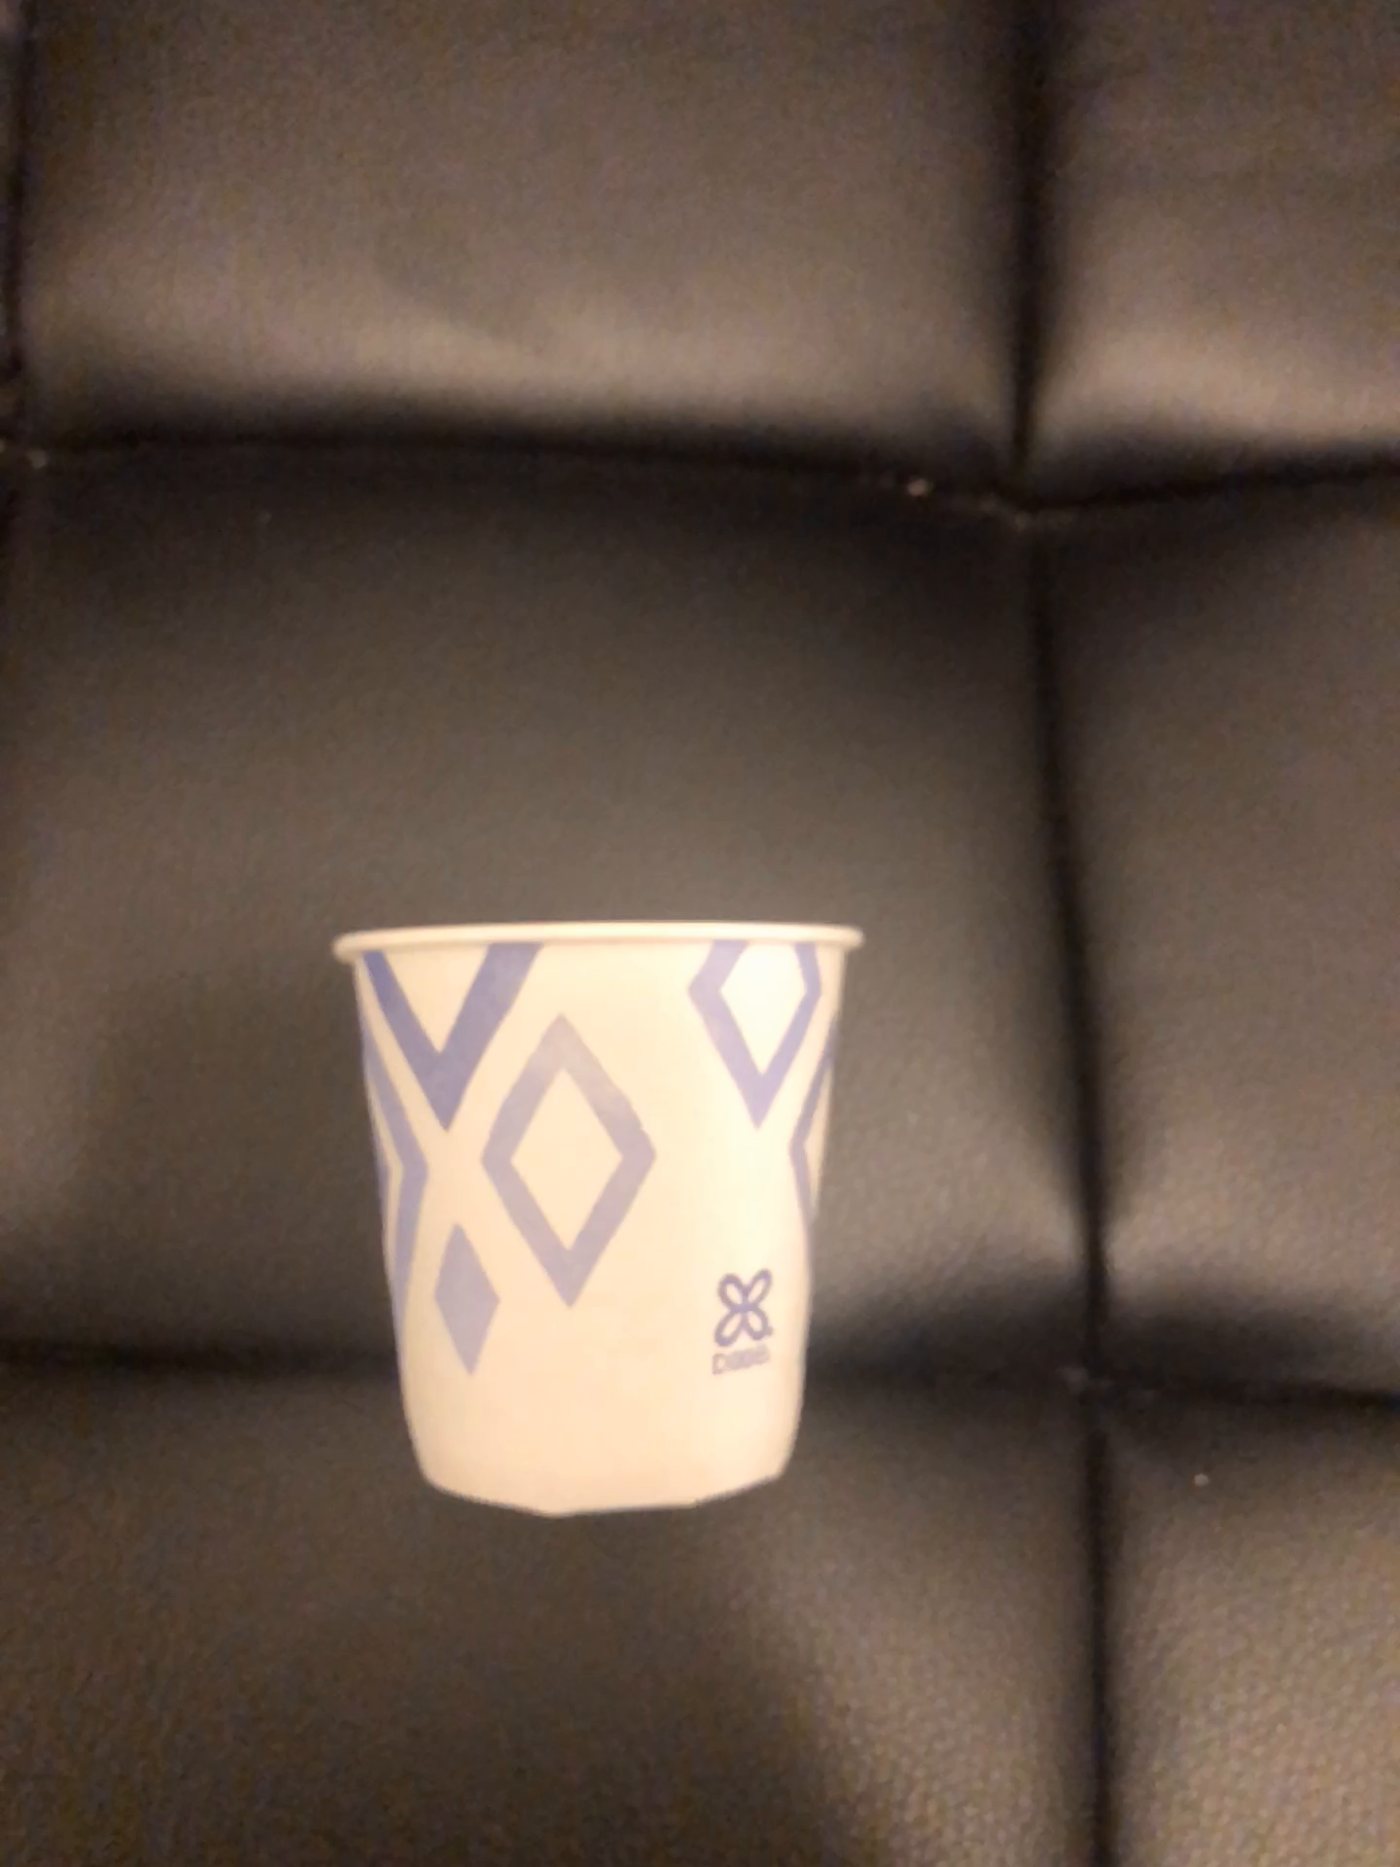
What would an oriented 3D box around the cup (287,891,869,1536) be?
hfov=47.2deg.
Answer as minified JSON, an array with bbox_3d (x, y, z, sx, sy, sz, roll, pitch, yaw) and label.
[{"bbox_3d":[-0.012,0.026,0.170,0.052,0.049,0.058,0,89,-2],"label":"cup"}]
